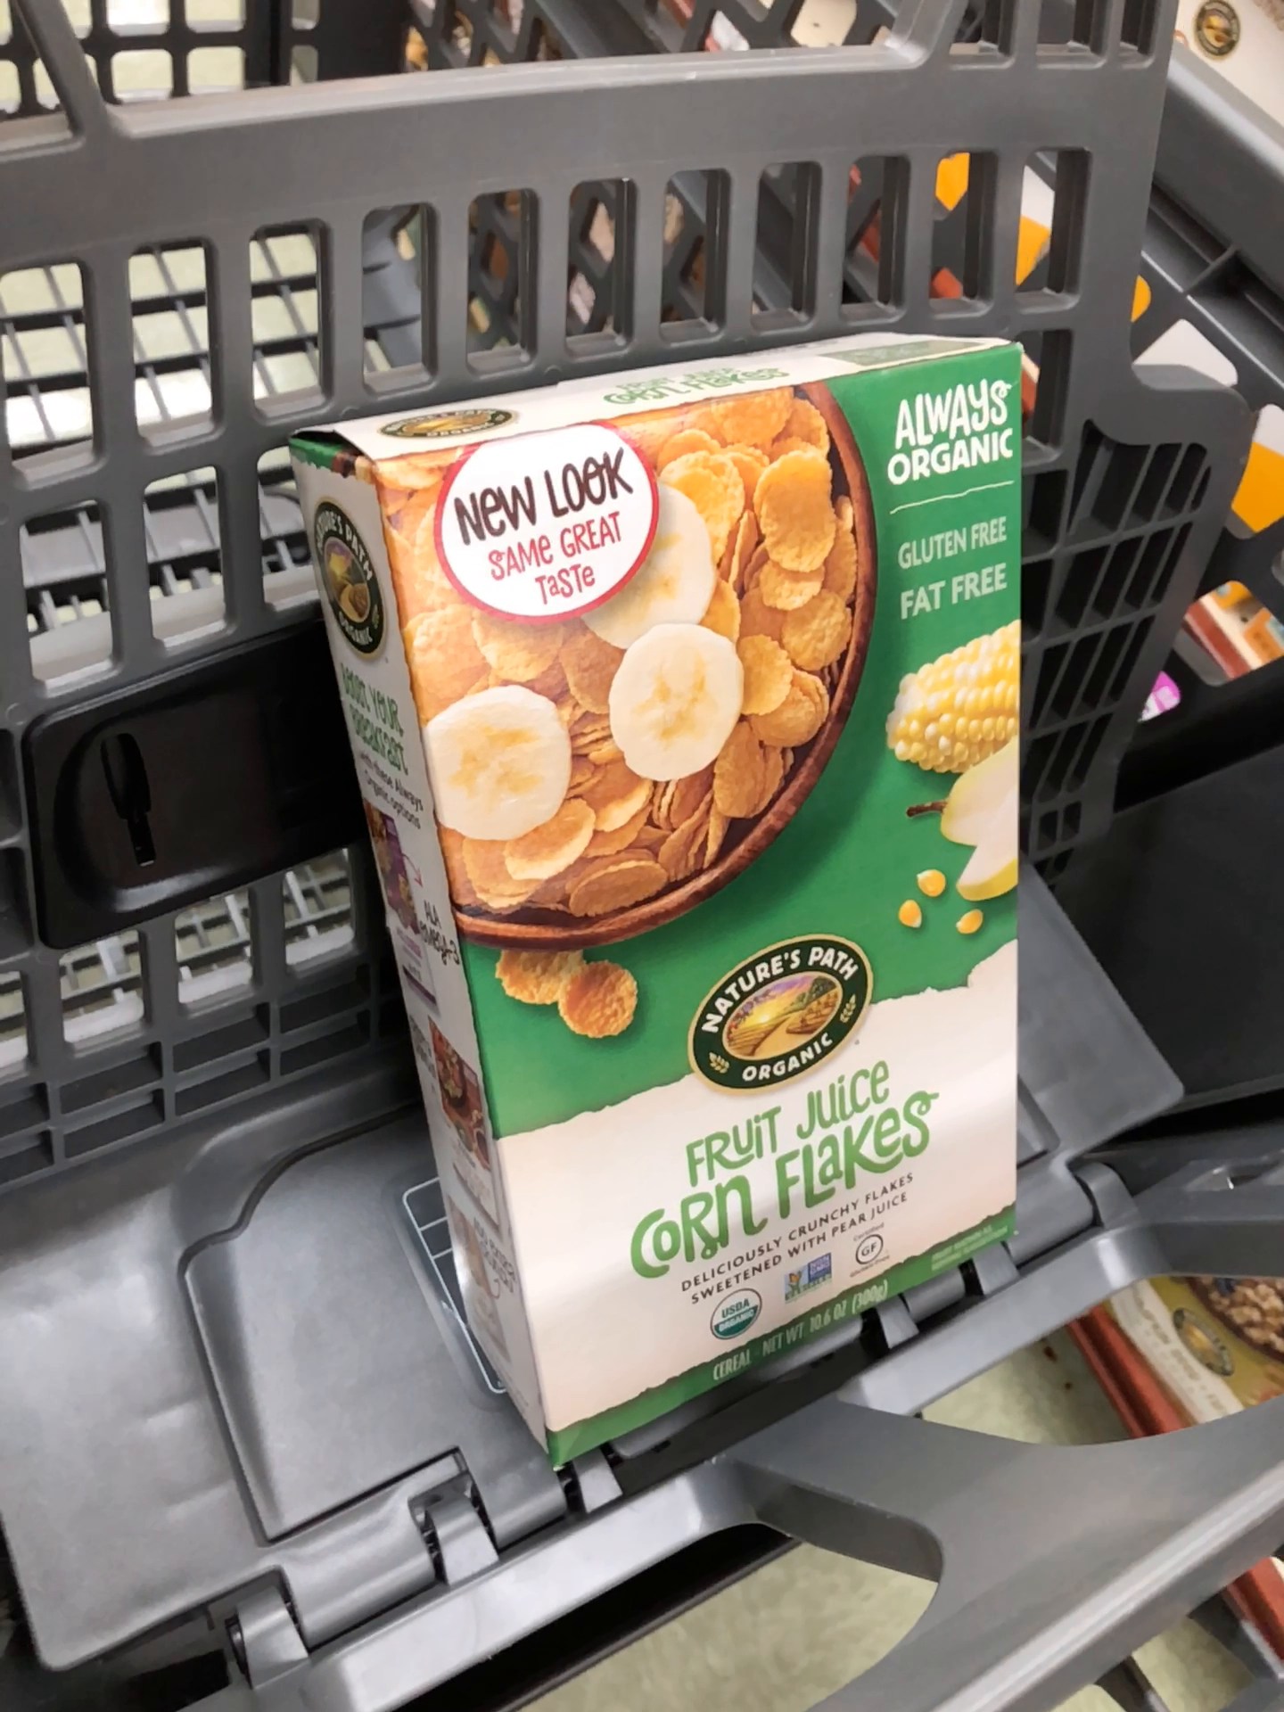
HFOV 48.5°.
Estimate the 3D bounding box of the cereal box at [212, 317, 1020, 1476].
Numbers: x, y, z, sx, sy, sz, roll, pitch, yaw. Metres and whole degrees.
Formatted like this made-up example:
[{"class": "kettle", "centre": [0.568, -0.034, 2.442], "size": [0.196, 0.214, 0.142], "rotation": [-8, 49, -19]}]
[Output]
[{"class": "cereal box", "centre": [0.008, 0.005, 0.337], "size": [0.150, 0.230, 0.070], "rotation": [-18, 27, -24]}]
